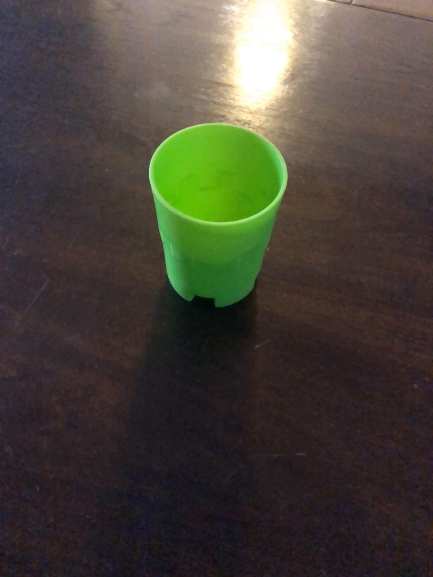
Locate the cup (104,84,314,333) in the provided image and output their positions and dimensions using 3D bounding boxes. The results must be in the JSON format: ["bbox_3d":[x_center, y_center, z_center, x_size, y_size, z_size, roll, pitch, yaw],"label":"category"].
[{"bbox_3d":[-0.003,-0.040,0.258,0.070,0.090,0.070,1,58,-2],"label":"cup"}]
